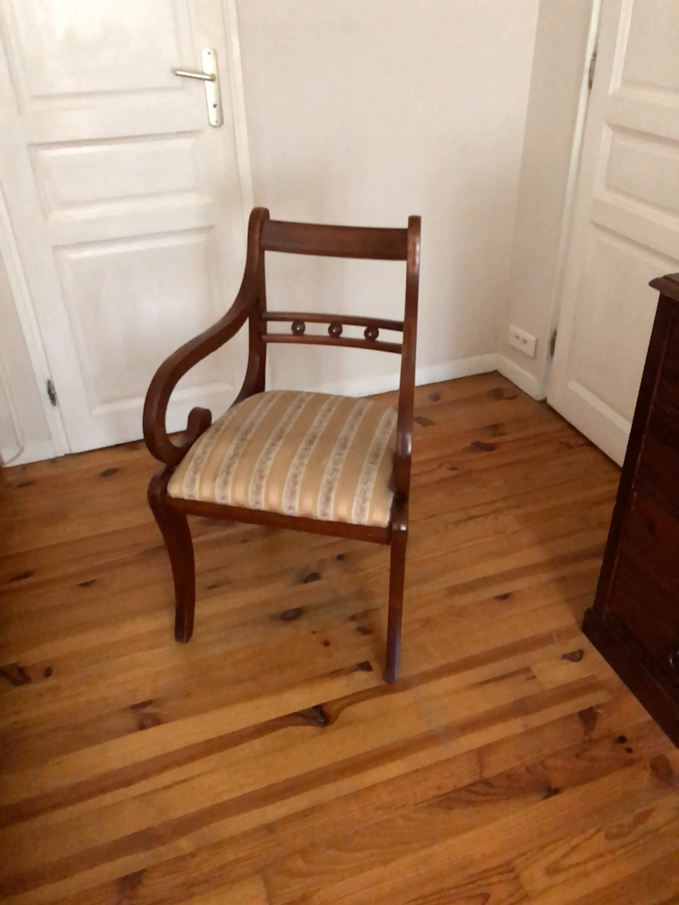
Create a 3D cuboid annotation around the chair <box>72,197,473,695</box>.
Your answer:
[{"bbox_3d":[-0.074,-0.042,1.602,0.580,0.825,0.574,8,33,14],"label":"chair"}]
